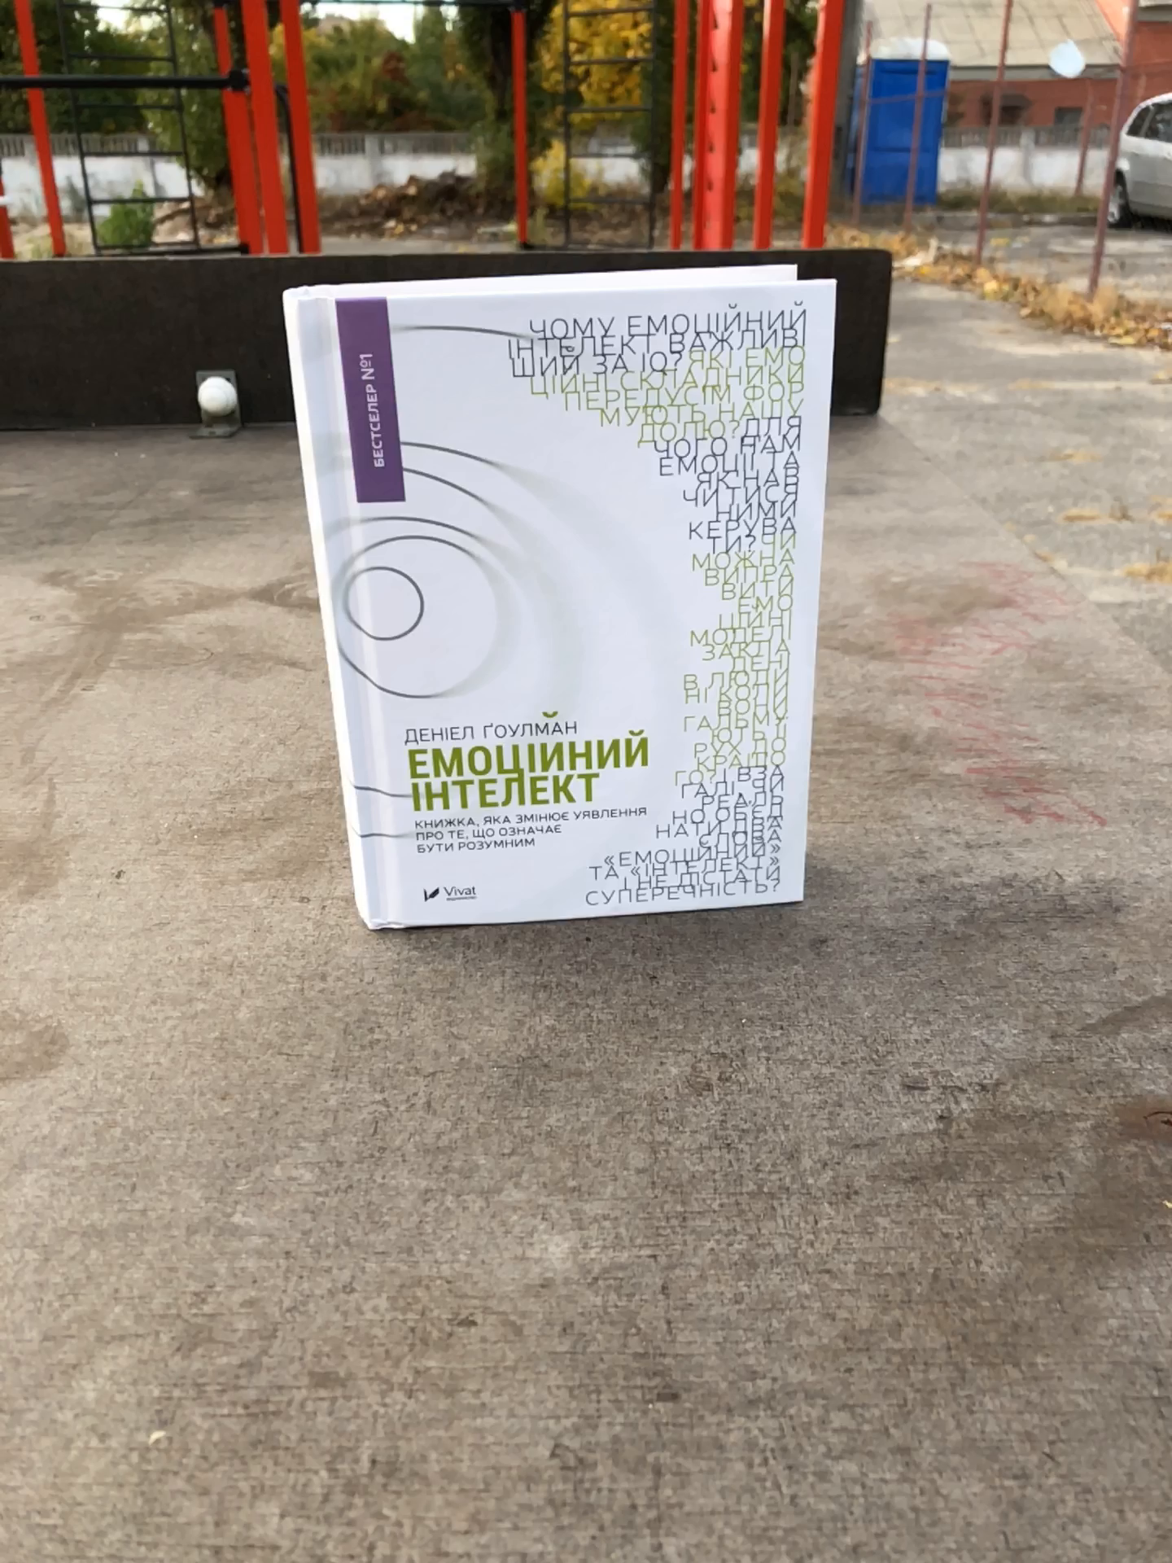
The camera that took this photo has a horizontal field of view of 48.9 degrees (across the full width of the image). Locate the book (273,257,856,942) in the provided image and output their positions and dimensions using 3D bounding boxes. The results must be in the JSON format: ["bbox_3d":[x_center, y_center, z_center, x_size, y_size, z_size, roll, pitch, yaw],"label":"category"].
[{"bbox_3d":[-0.006,-0.055,0.420,0.160,0.209,0.050,-3,26,-6],"label":"book"}]
